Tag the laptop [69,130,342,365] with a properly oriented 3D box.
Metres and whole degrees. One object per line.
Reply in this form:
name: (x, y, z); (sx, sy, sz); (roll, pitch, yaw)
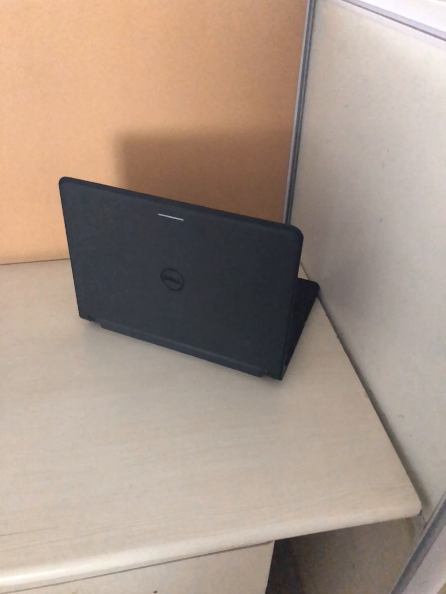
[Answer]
laptop: (-0.016, -0.088, 0.725); (0.304, 0.211, 0.215); (16, 40, 17)
